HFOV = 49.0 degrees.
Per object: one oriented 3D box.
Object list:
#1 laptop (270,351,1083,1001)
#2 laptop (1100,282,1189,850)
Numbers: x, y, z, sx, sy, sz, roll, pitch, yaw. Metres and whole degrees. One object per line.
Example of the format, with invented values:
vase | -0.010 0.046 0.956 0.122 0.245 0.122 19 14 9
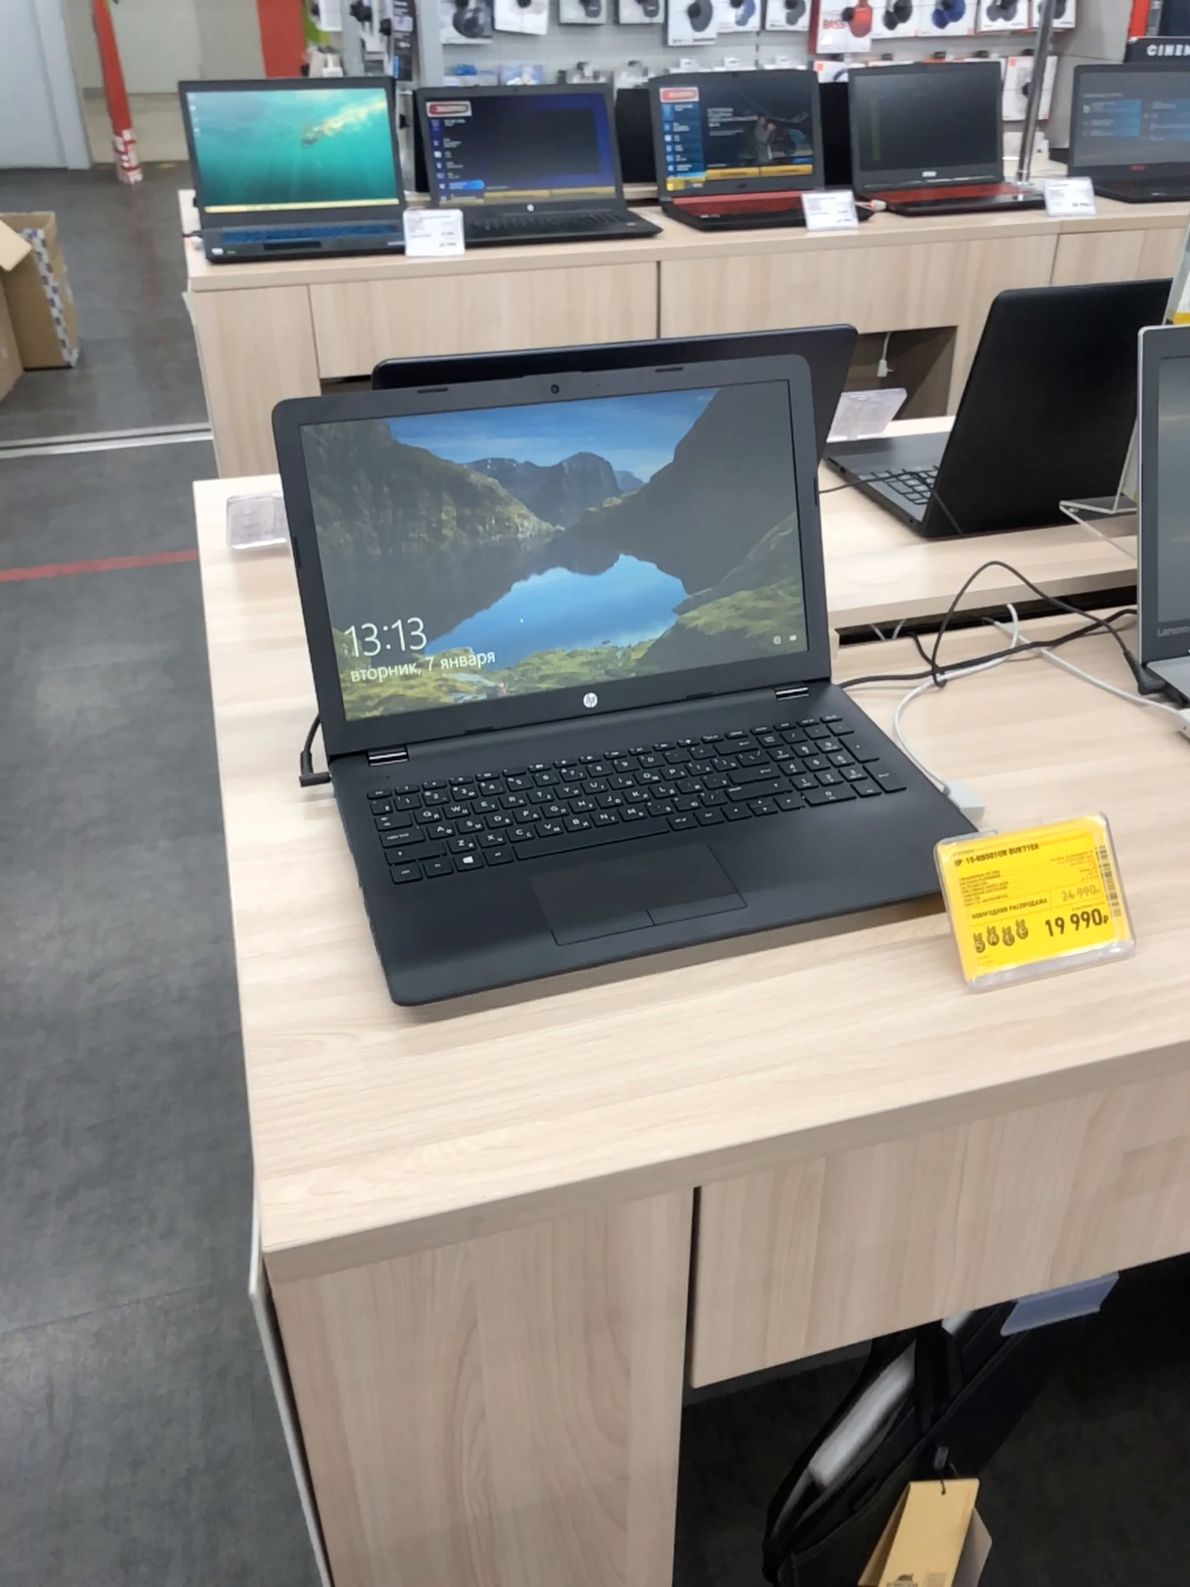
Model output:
laptop | 0.020 -0.104 0.812 0.376 0.217 0.343 -9 34 -14
laptop | 0.632 -0.184 0.914 0.370 0.226 0.340 -9 34 -11
